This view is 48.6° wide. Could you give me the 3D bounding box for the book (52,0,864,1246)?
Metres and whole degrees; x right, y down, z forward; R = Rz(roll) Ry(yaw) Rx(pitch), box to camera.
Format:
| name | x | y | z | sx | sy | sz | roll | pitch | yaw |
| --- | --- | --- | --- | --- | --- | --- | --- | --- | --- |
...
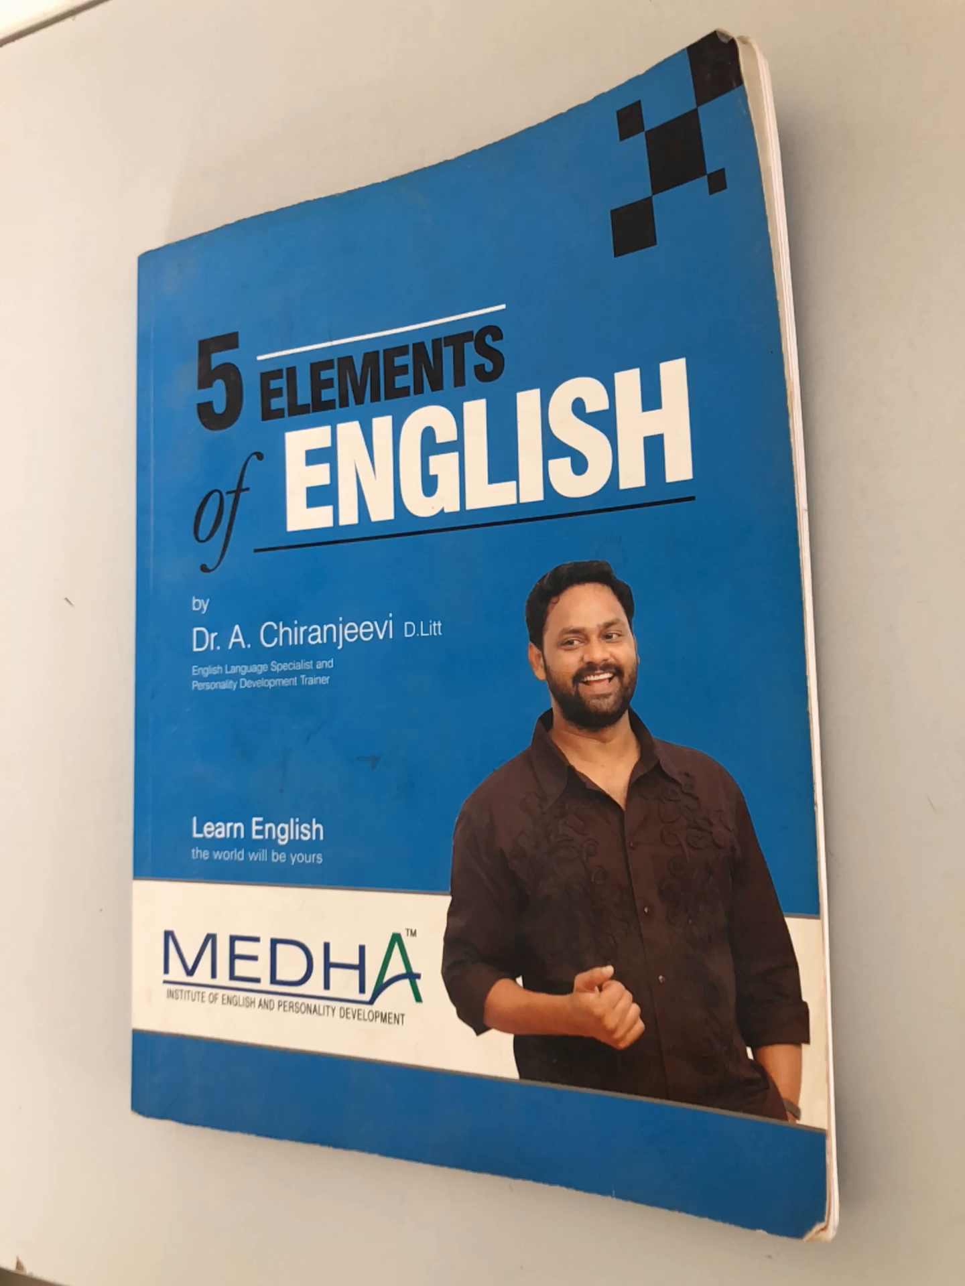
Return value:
| name | x | y | z | sx | sy | sz | roll | pitch | yaw |
| --- | --- | --- | --- | --- | --- | --- | --- | --- | --- |
| book | -0.020 | -0.004 | 0.233 | 0.180 | 0.020 | 0.220 | -5 | 84 | 26 |
